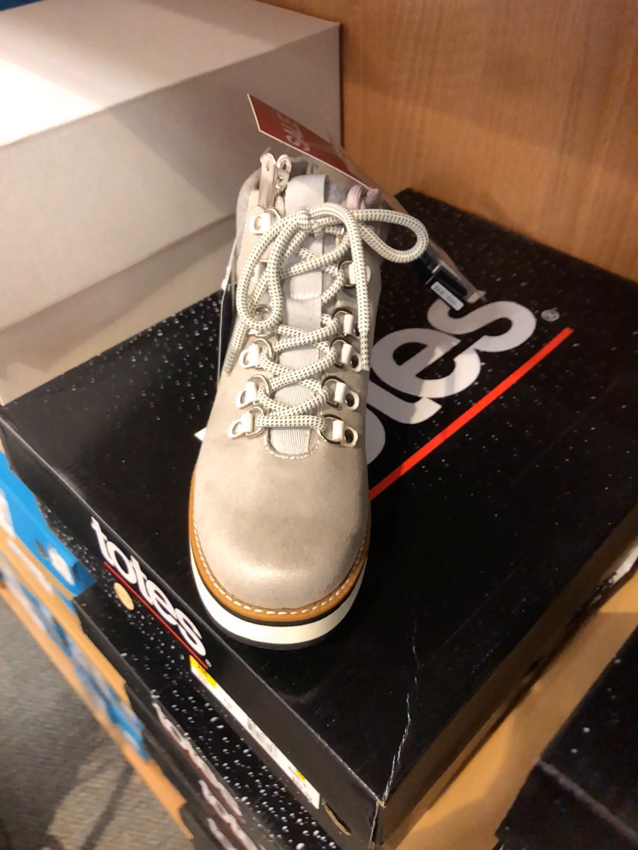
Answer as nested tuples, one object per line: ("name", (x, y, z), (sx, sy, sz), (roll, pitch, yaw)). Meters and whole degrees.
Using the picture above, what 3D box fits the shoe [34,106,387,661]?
("shoe", (-0.022, -0.034, 0.326), (0.099, 0.134, 0.229), (2, 45, 4))
